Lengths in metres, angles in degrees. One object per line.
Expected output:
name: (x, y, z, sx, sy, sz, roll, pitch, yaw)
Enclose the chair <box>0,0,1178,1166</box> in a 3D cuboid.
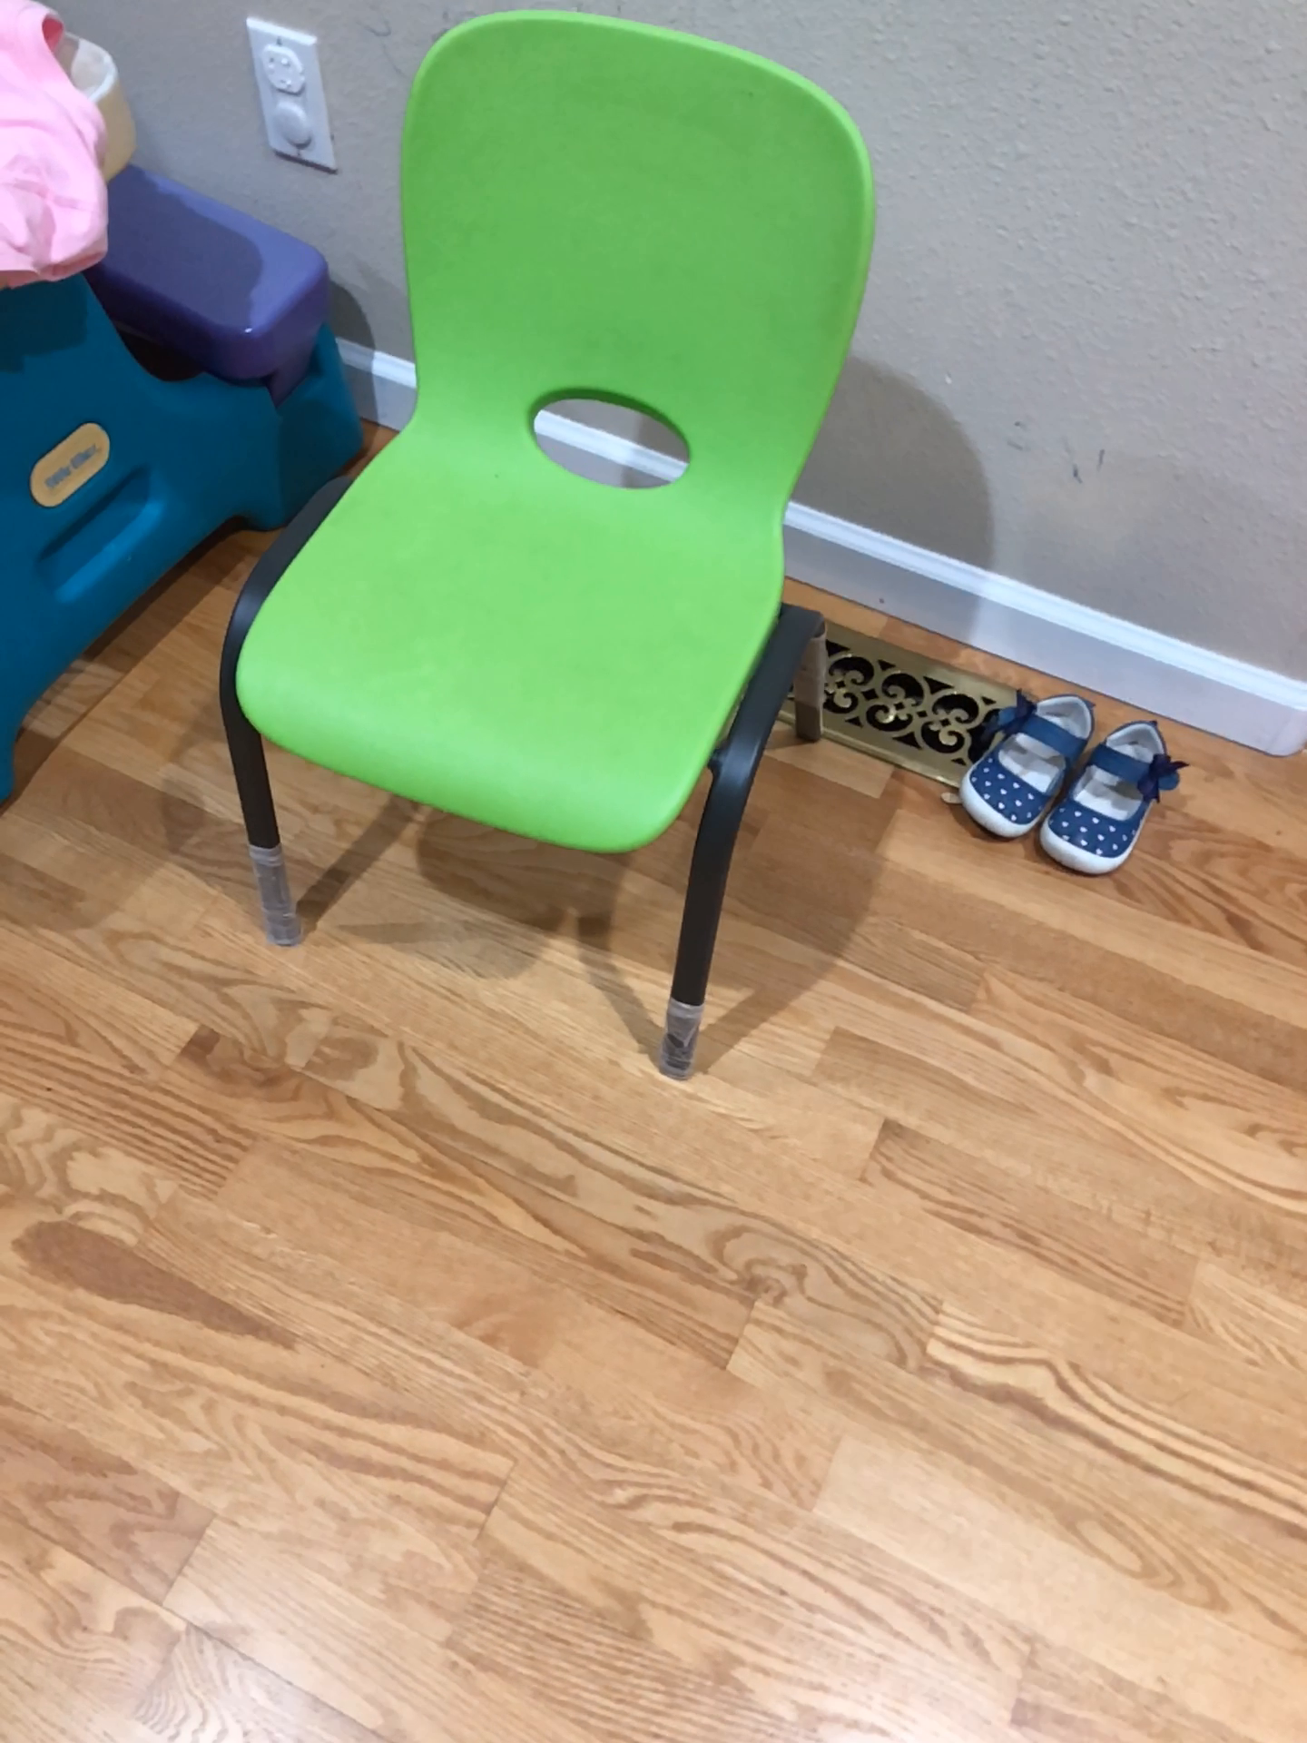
chair: (-0.033, -0.209, 0.973, 0.510, 0.557, 0.482, 19, 57, 10)
